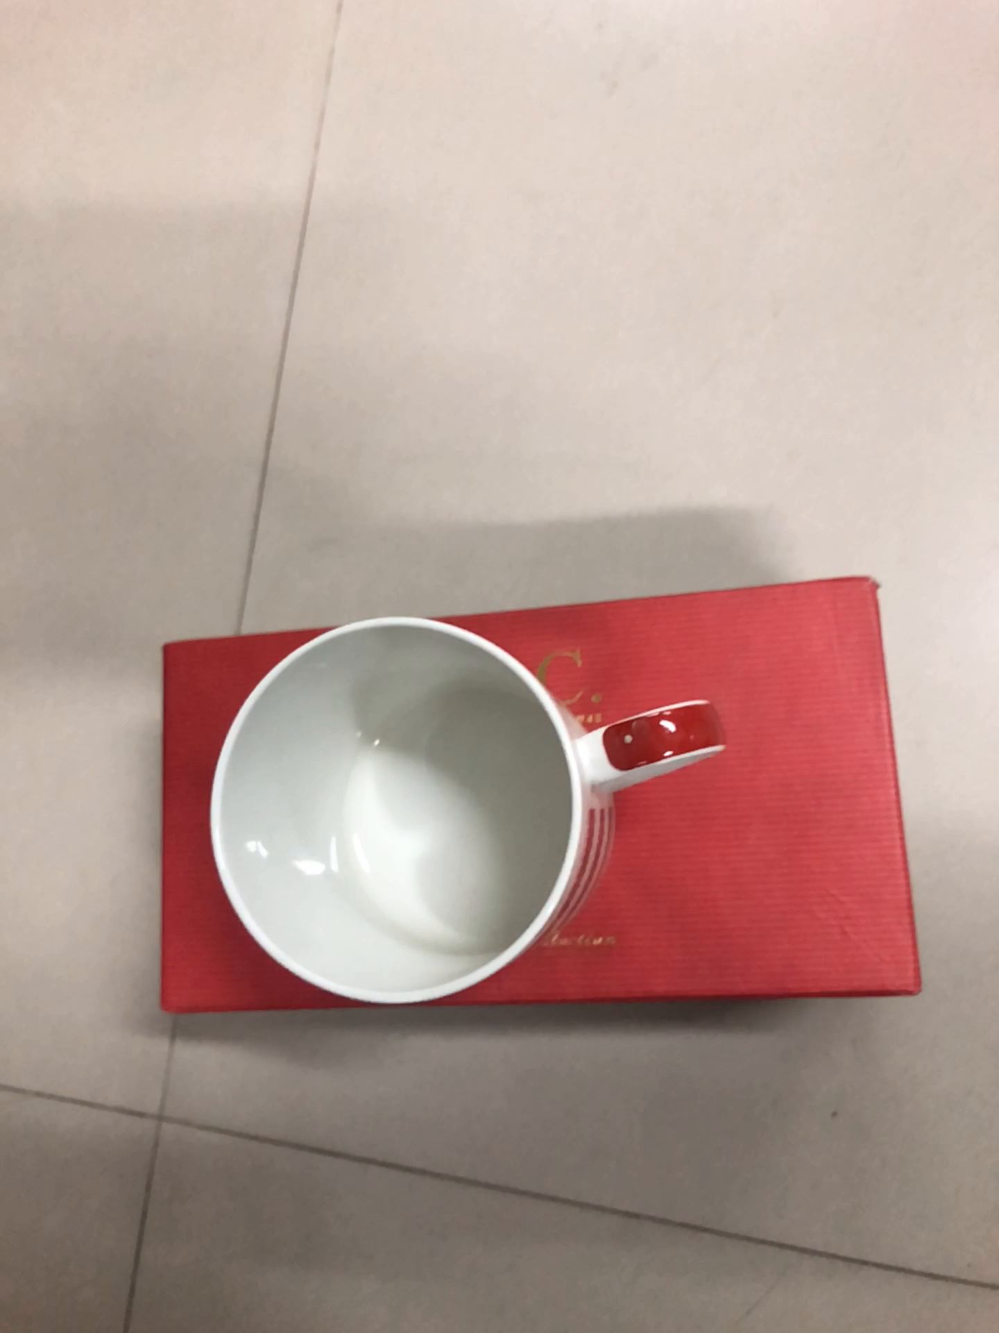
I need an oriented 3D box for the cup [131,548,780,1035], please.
[{"bbox_3d":[-0.005,0.035,0.285,0.130,0.100,0.080,-12,79,10],"label":"cup"}]
